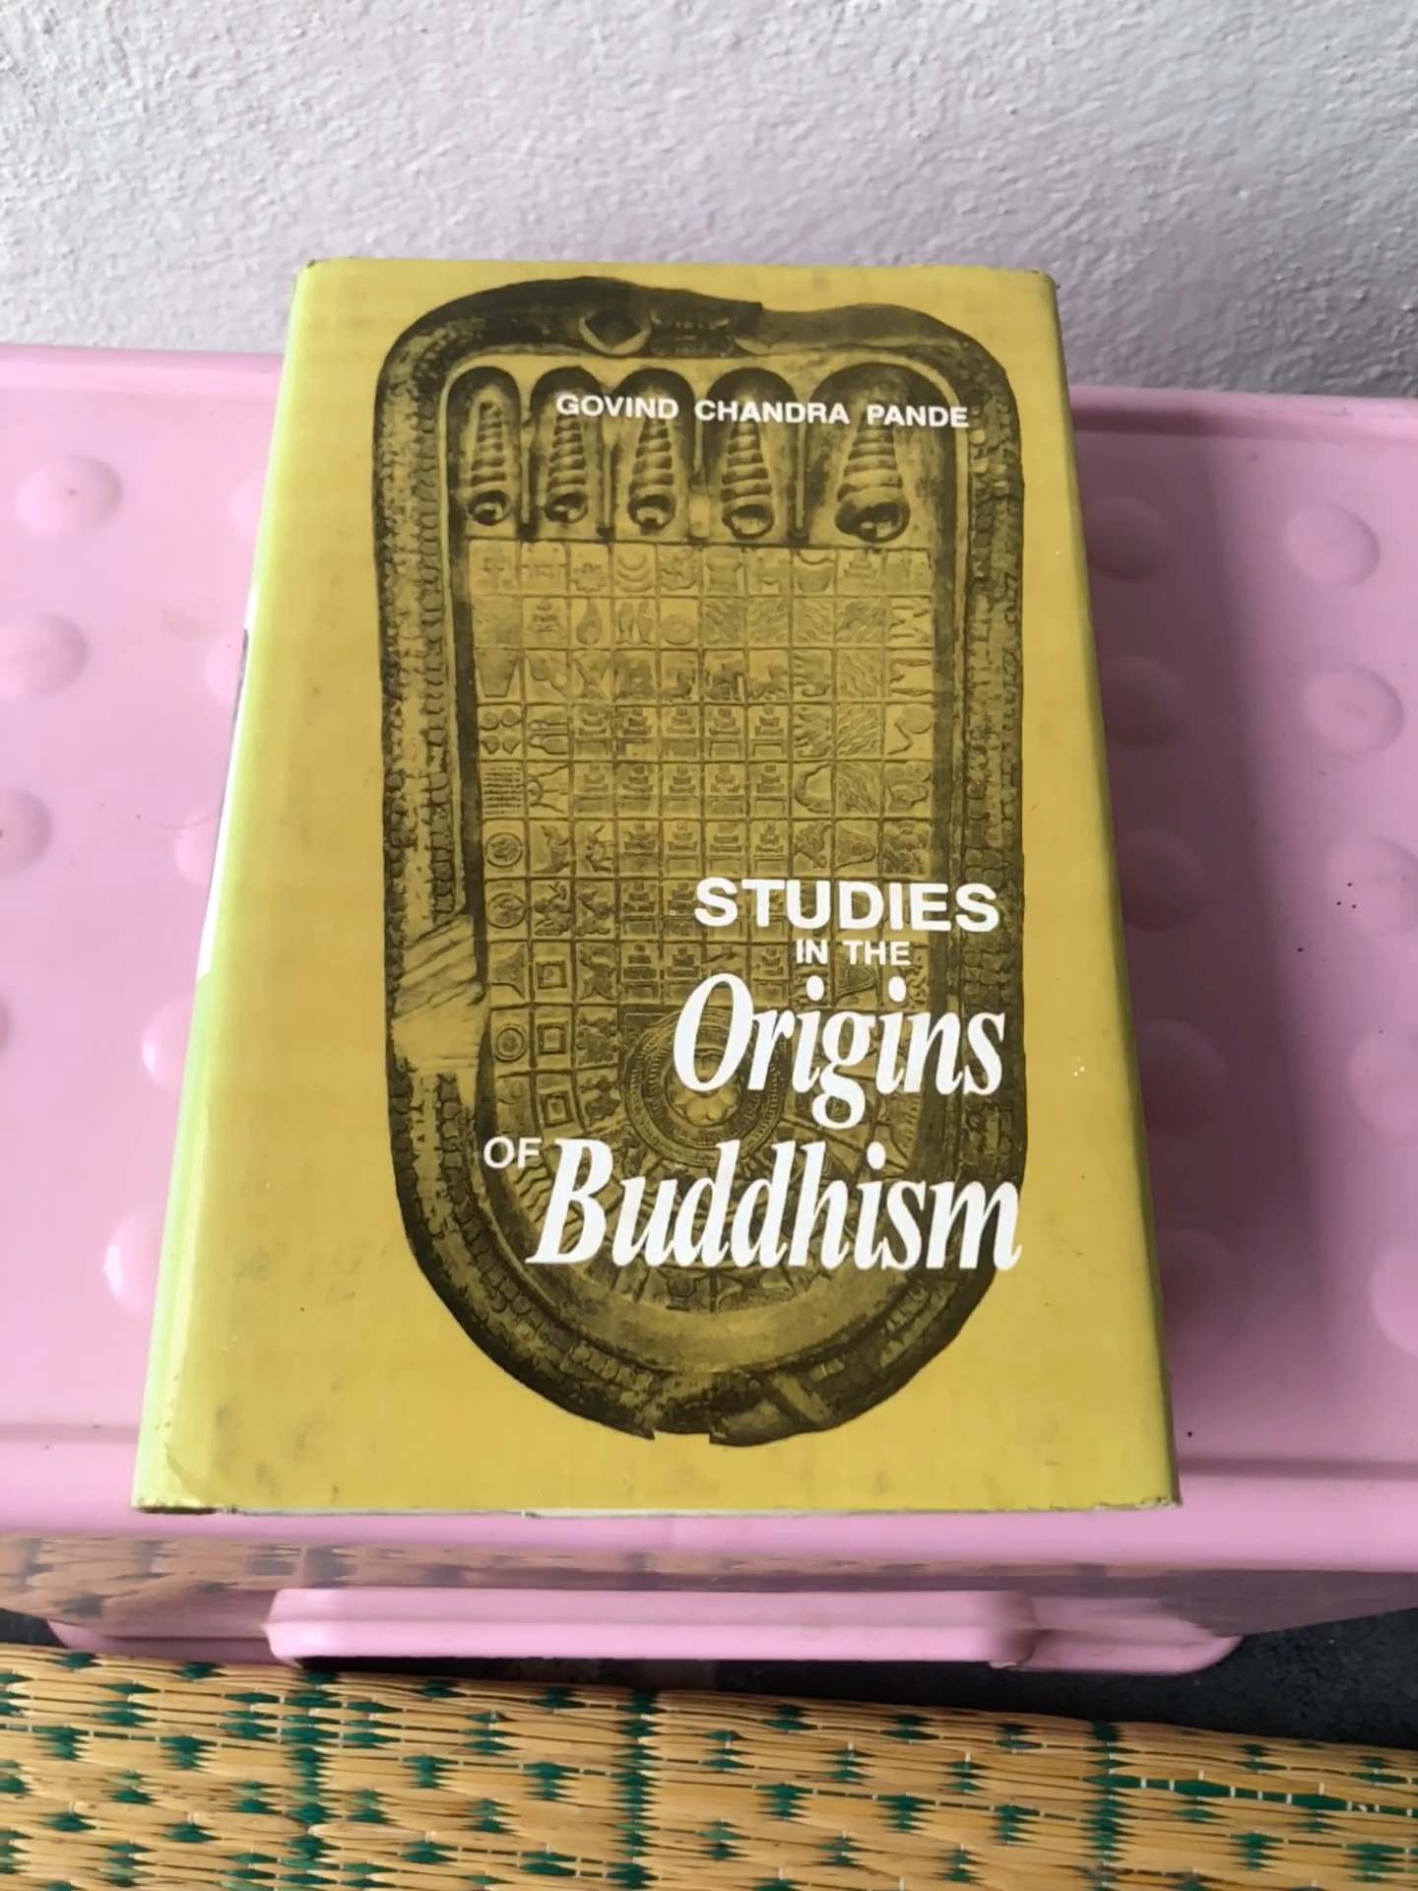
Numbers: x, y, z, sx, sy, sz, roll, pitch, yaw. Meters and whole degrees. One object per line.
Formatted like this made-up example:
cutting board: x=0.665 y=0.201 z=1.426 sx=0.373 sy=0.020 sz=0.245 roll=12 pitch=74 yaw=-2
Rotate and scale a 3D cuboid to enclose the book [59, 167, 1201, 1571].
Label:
book: x=-0.009 y=-0.023 z=0.270 sx=0.150 sy=0.040 sz=0.240 roll=2 pitch=68 yaw=-2
